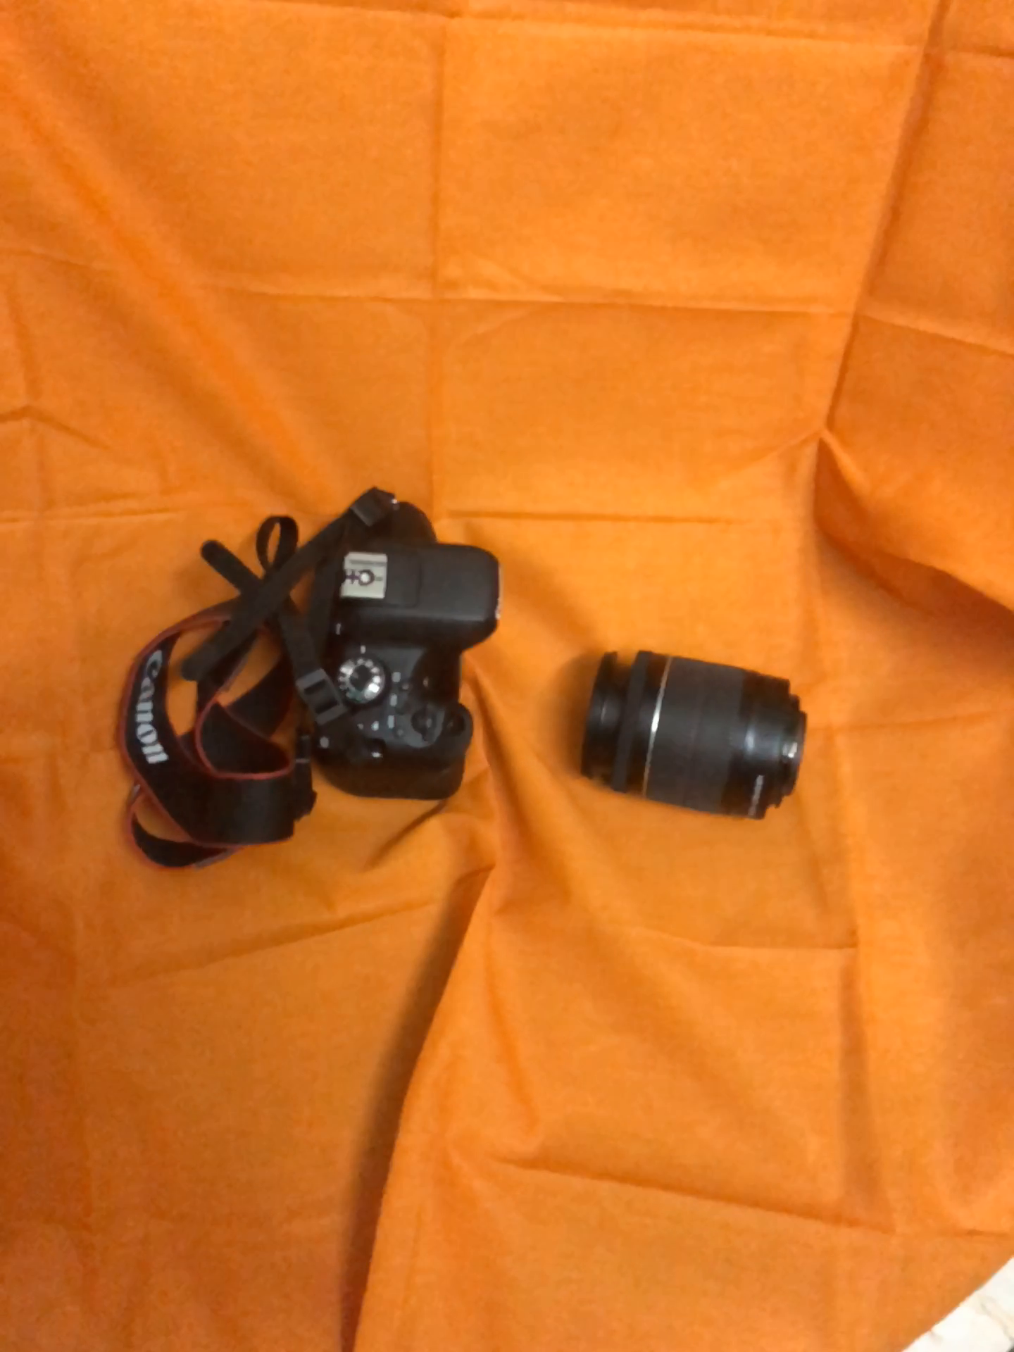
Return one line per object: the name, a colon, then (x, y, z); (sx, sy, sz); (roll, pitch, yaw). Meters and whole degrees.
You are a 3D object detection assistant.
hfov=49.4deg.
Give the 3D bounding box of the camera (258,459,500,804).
camera: (-0.053, -0.018, 0.498); (0.092, 0.071, 0.134); (3, 68, -2)
